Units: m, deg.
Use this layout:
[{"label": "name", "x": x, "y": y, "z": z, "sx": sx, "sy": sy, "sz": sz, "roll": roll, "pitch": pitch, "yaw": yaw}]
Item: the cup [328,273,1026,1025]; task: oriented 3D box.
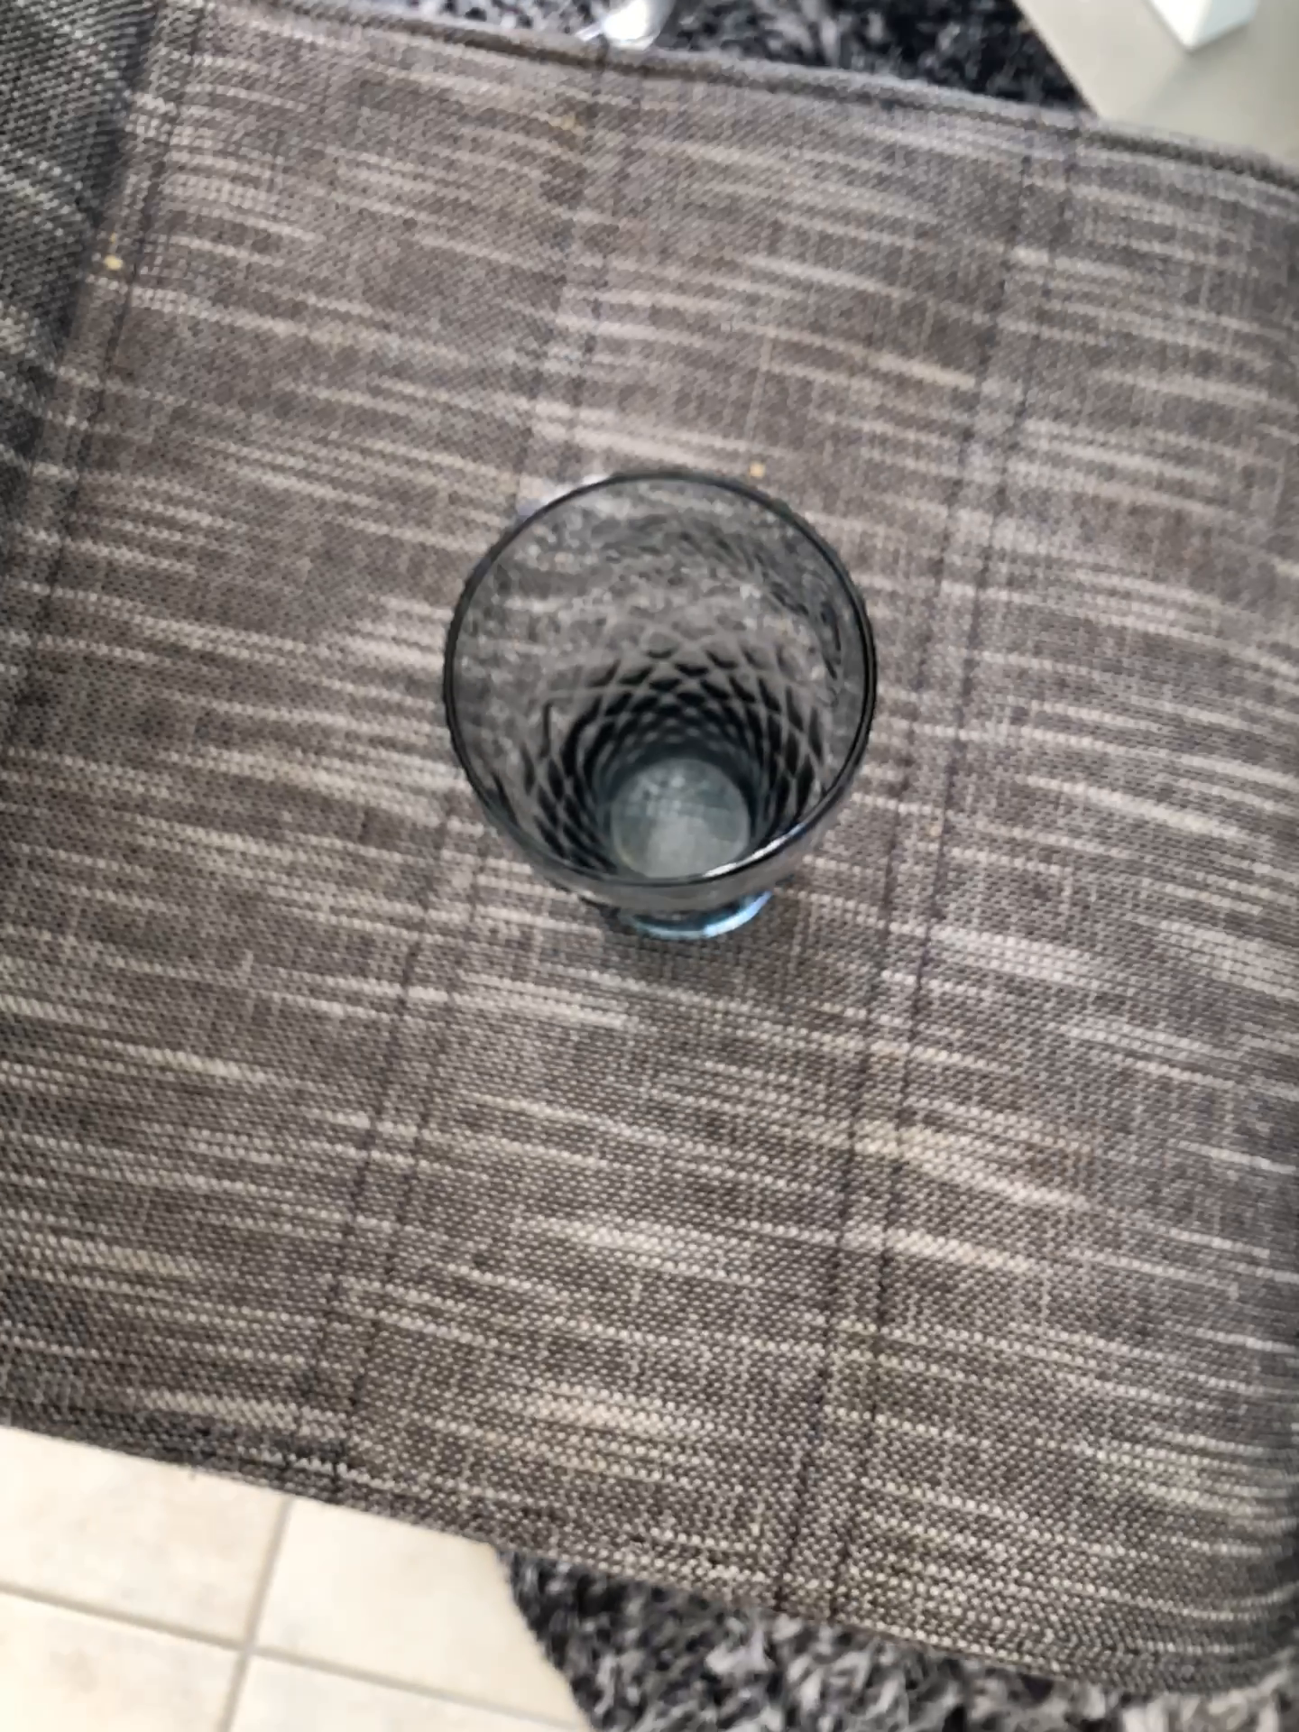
[{"label": "cup", "x": 0.009, "y": -0.031, "z": 0.304, "sx": 0.080, "sy": 0.140, "sz": 0.080, "roll": -1, "pitch": 78, "yaw": 4}]
